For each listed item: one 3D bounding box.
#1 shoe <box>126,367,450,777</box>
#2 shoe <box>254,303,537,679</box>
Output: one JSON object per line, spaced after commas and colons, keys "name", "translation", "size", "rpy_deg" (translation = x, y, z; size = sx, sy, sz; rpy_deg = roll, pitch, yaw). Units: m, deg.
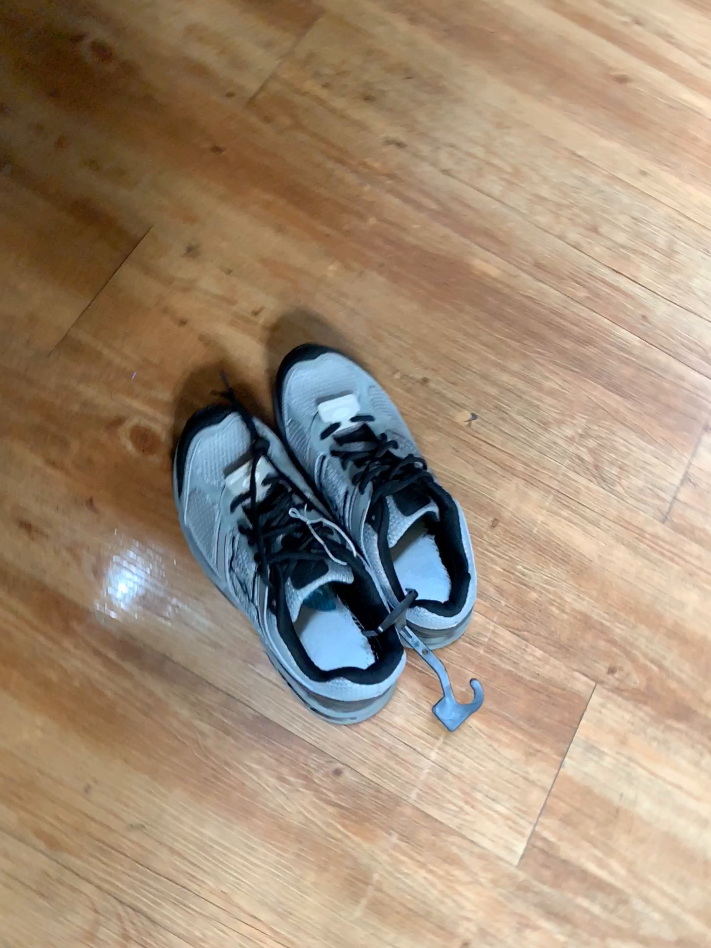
{"name": "shoe", "translation": [-0.063, 0.080, 0.630], "size": [0.123, 0.099, 0.308], "rpy_deg": [-29, 80, -15]}
{"name": "shoe", "translation": [0.025, 0.016, 0.657], "size": [0.117, 0.089, 0.307], "rpy_deg": [-24, 79, -14]}
